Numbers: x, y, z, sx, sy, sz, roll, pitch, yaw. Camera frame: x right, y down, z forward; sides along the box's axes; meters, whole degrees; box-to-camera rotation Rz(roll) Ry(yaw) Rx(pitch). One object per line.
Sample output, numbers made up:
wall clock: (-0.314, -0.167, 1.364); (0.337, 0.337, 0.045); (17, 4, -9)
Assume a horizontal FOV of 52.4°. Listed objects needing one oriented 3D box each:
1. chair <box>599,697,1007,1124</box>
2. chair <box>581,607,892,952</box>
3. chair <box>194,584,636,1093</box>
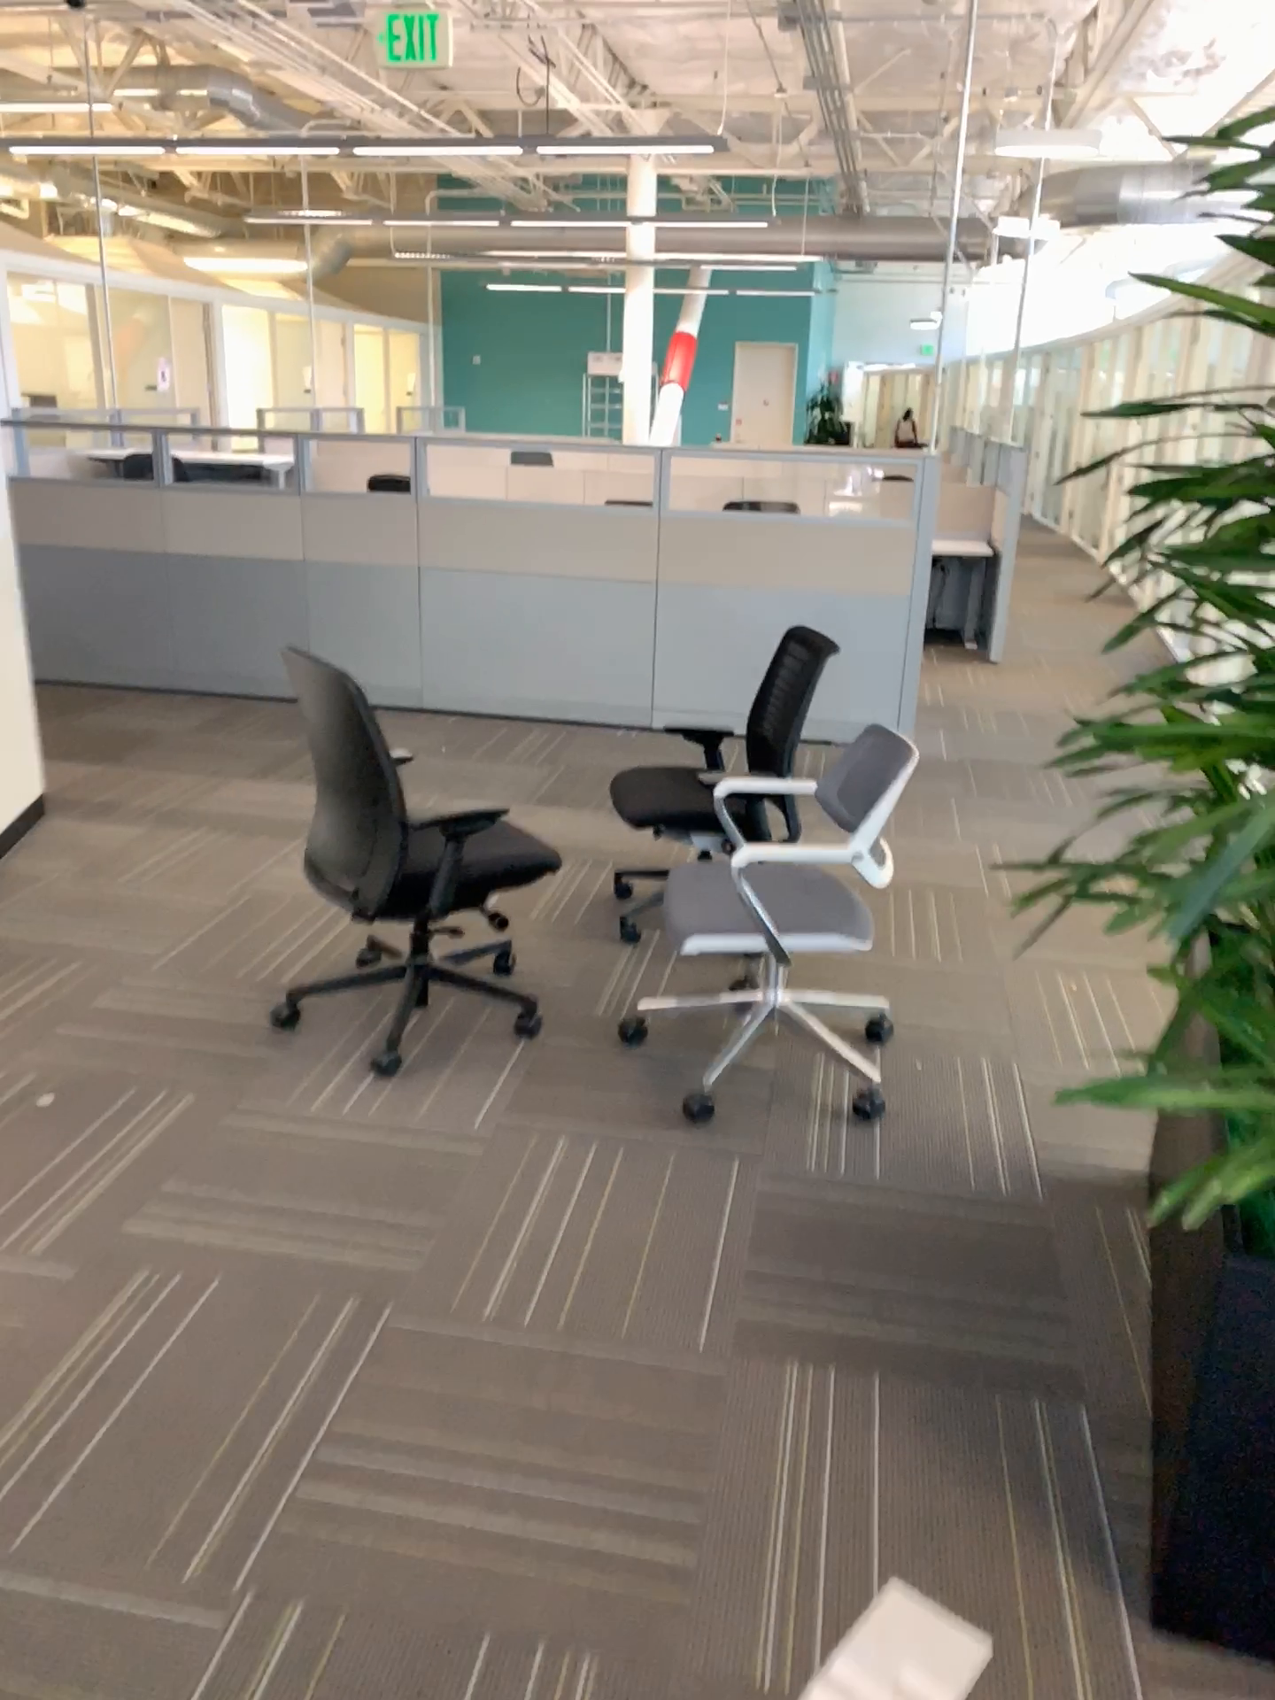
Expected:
chair: (0.310, 0.102, 2.992); (0.760, 0.736, 0.774); (1, 19, -4)
chair: (0.273, -0.271, 4.216); (0.760, 0.926, 0.774); (-2, 18, -13)
chair: (-0.551, -0.098, 3.165); (0.760, 0.955, 0.774); (-10, 22, -33)
